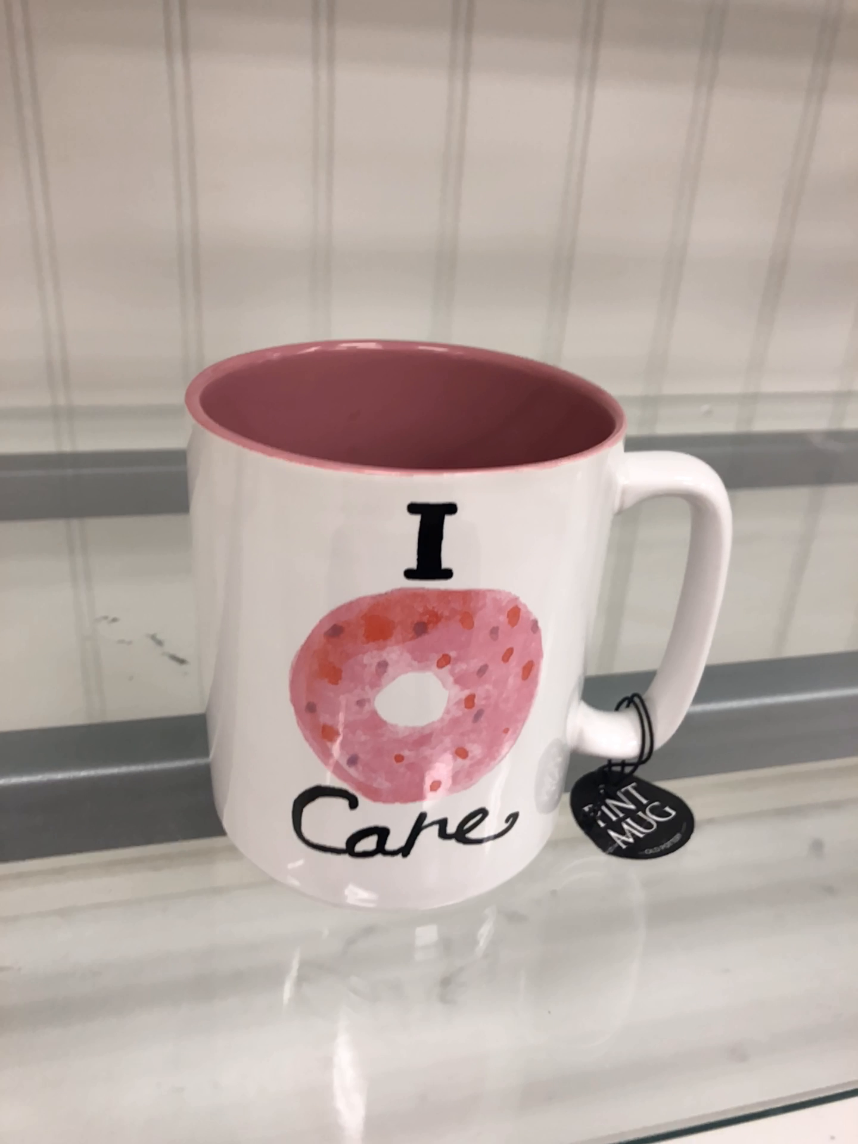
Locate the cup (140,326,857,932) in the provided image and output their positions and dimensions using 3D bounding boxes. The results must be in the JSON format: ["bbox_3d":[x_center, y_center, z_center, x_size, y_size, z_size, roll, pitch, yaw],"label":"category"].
[{"bbox_3d":[0.011,0.009,0.243,0.137,0.112,0.101,1,27,-6],"label":"cup"}]
